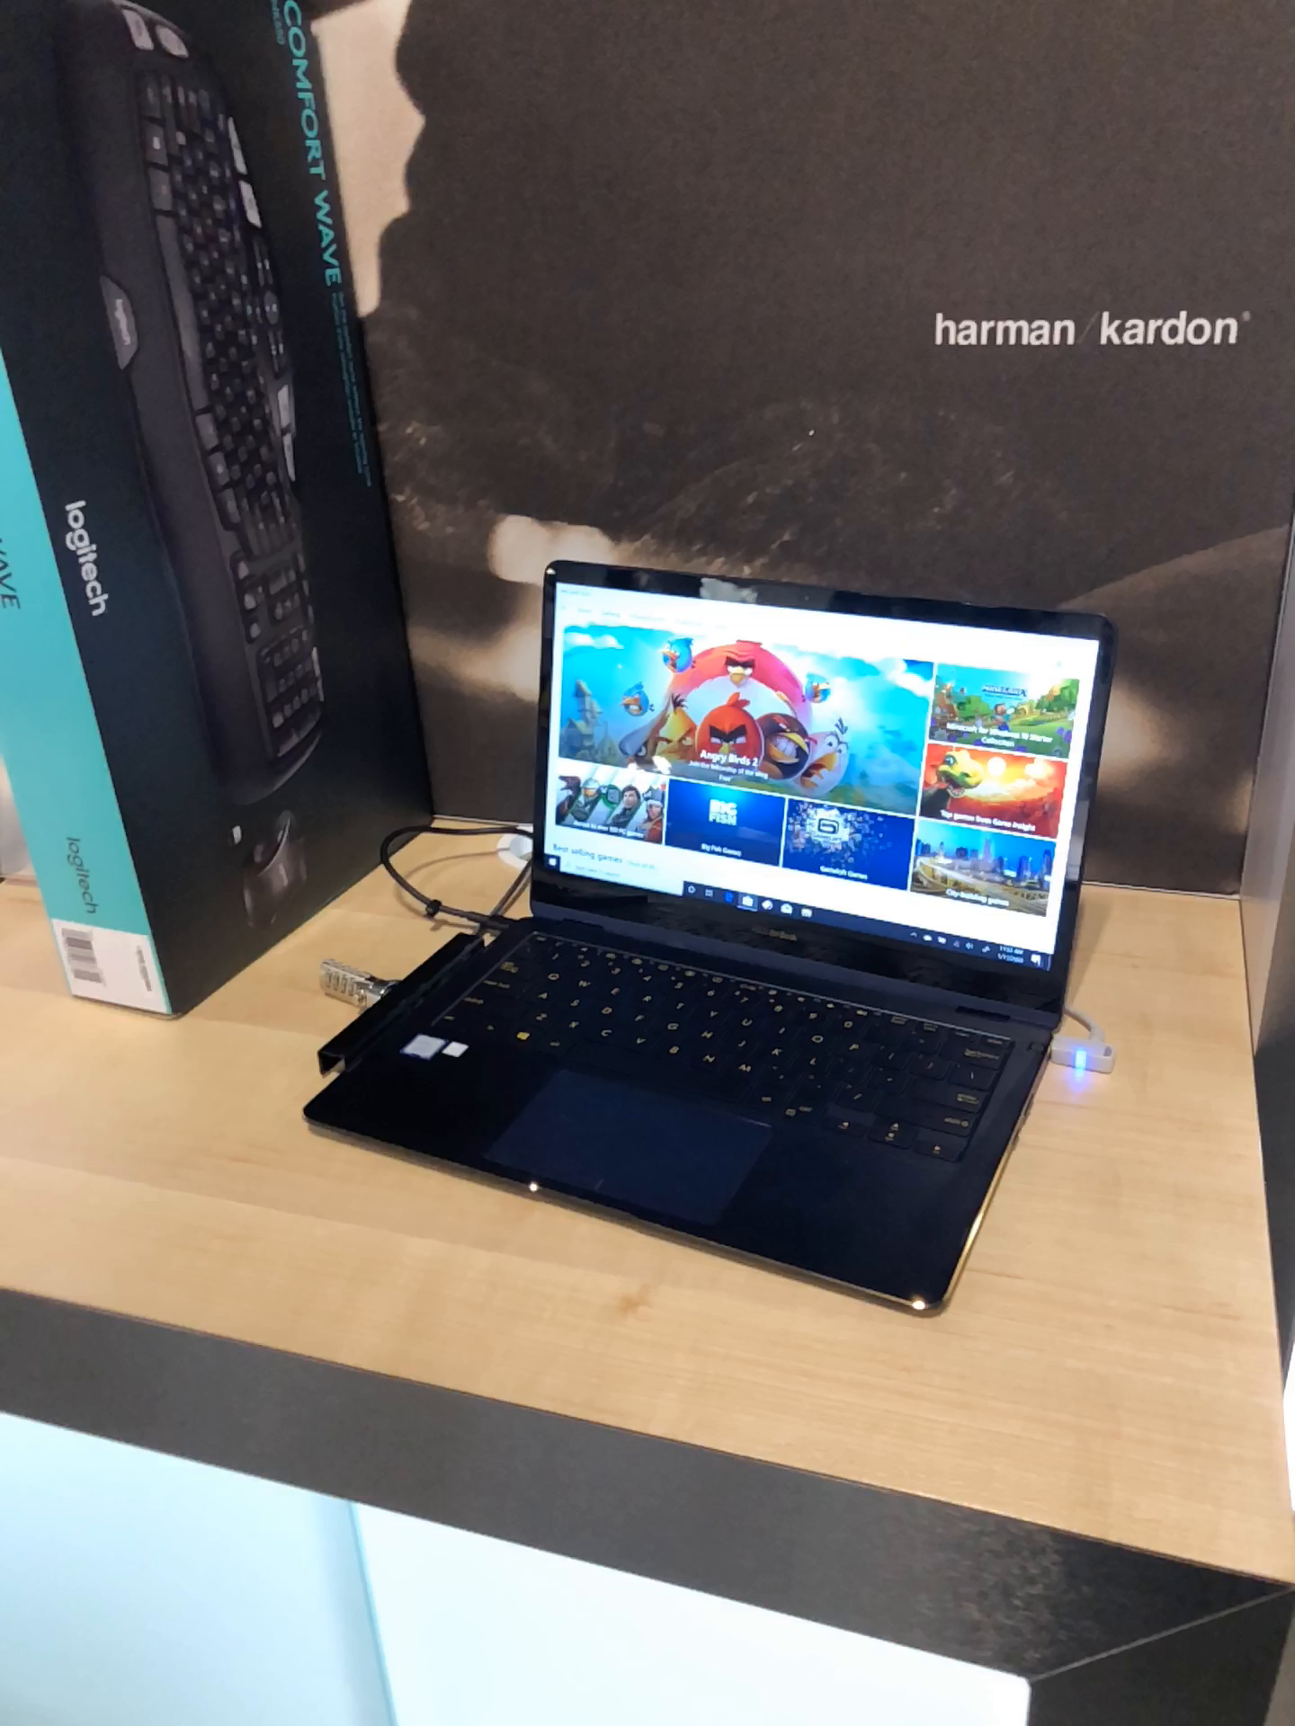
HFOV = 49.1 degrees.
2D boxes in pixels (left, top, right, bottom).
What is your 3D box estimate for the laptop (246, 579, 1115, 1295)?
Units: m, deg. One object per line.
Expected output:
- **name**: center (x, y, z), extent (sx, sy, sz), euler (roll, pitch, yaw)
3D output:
- **laptop**: center (0.030, 0.005, 0.653), extent (0.292, 0.190, 0.248), euler (10, 29, 24)
